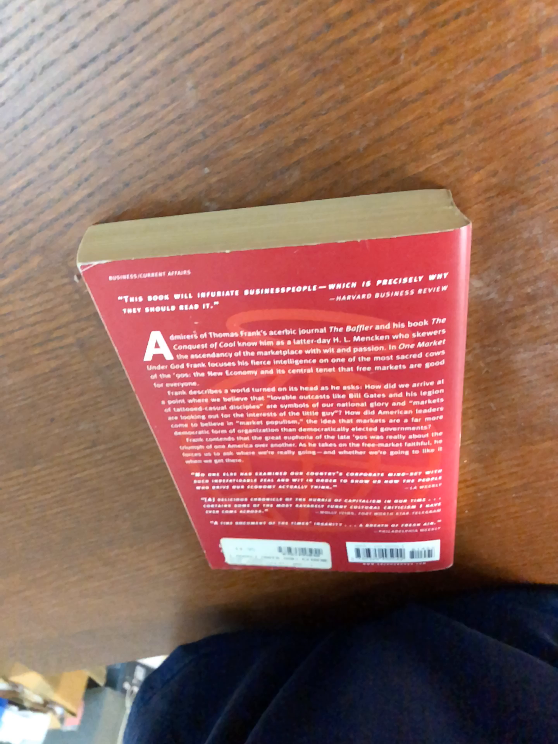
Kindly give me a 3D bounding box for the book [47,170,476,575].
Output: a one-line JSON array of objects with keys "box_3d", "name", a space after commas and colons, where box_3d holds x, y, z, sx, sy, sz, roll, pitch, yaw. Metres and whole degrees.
[{"box_3d": [0.008, 0.023, 0.280, 0.140, 0.030, 0.211, -3, 133, 11], "name": "book"}]
